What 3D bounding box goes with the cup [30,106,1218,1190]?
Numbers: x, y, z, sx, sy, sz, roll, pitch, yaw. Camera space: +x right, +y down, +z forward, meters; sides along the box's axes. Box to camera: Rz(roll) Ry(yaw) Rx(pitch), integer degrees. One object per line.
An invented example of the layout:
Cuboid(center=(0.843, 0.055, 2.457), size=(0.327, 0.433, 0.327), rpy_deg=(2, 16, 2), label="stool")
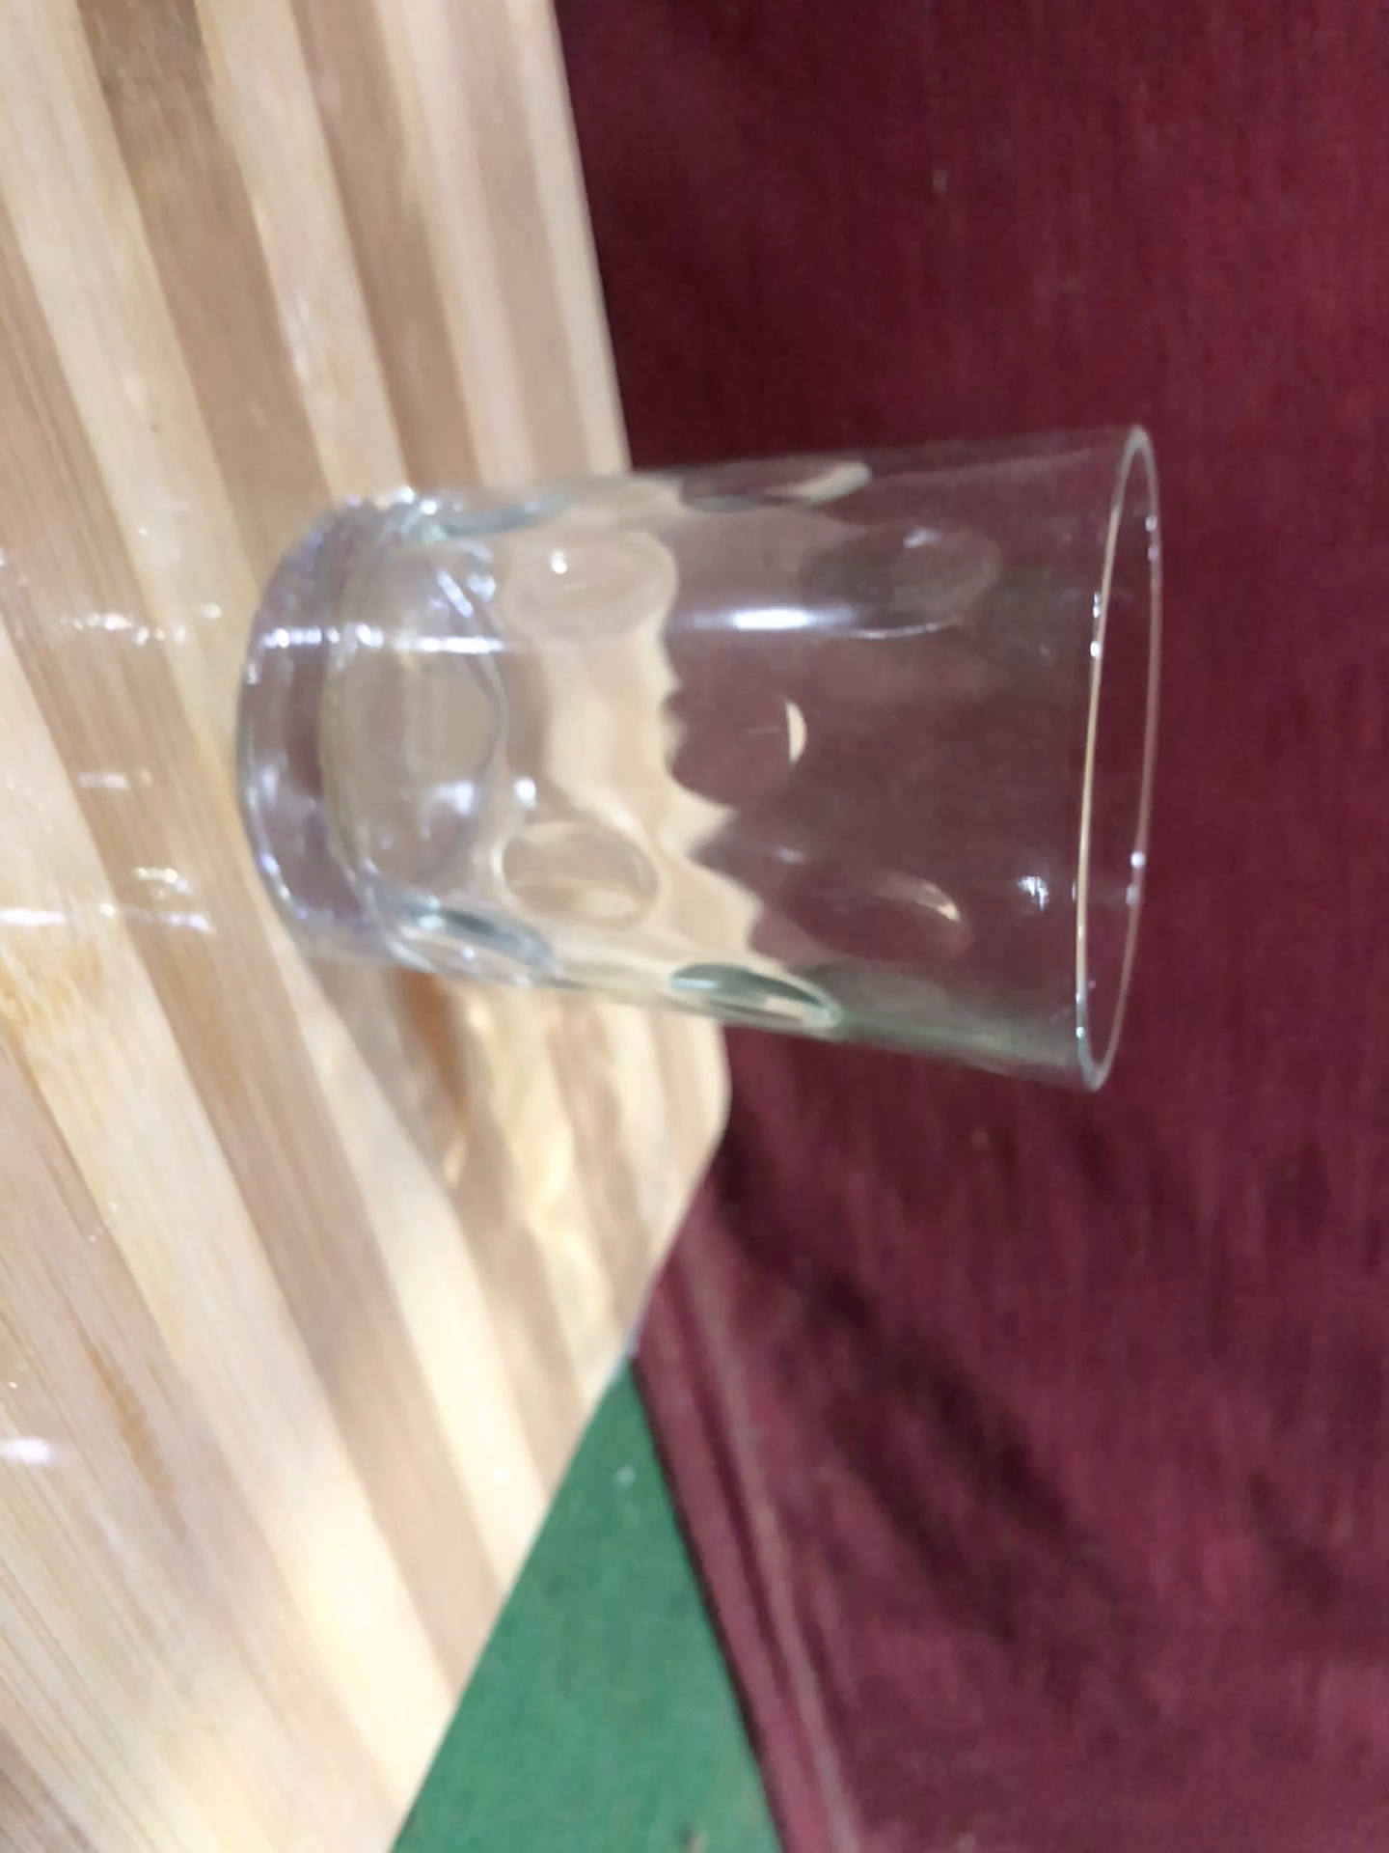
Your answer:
Cuboid(center=(0.005, -0.026, 0.215), size=(0.101, 0.119, 0.100), rpy_deg=(3, 90, -72), label="cup")
